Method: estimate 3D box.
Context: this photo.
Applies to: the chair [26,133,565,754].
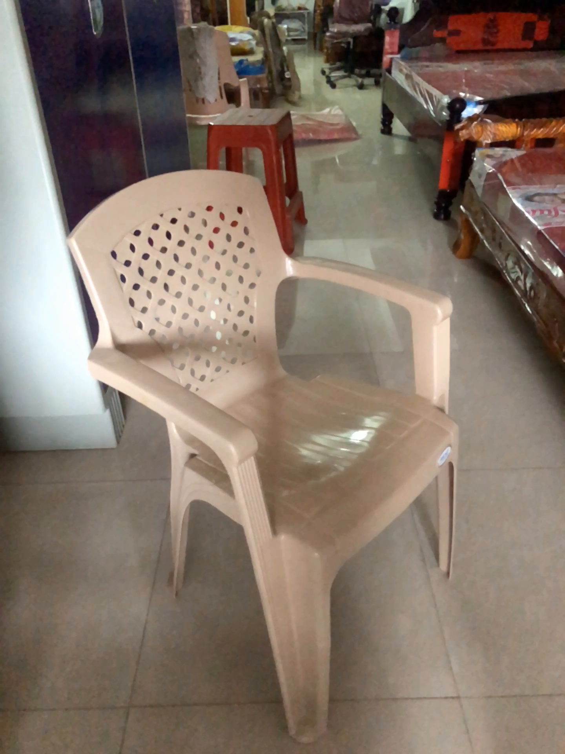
[{"bbox_3d":[0.038,0.074,1.100,0.560,0.796,0.542,26,43,35],"label":"chair"}]
